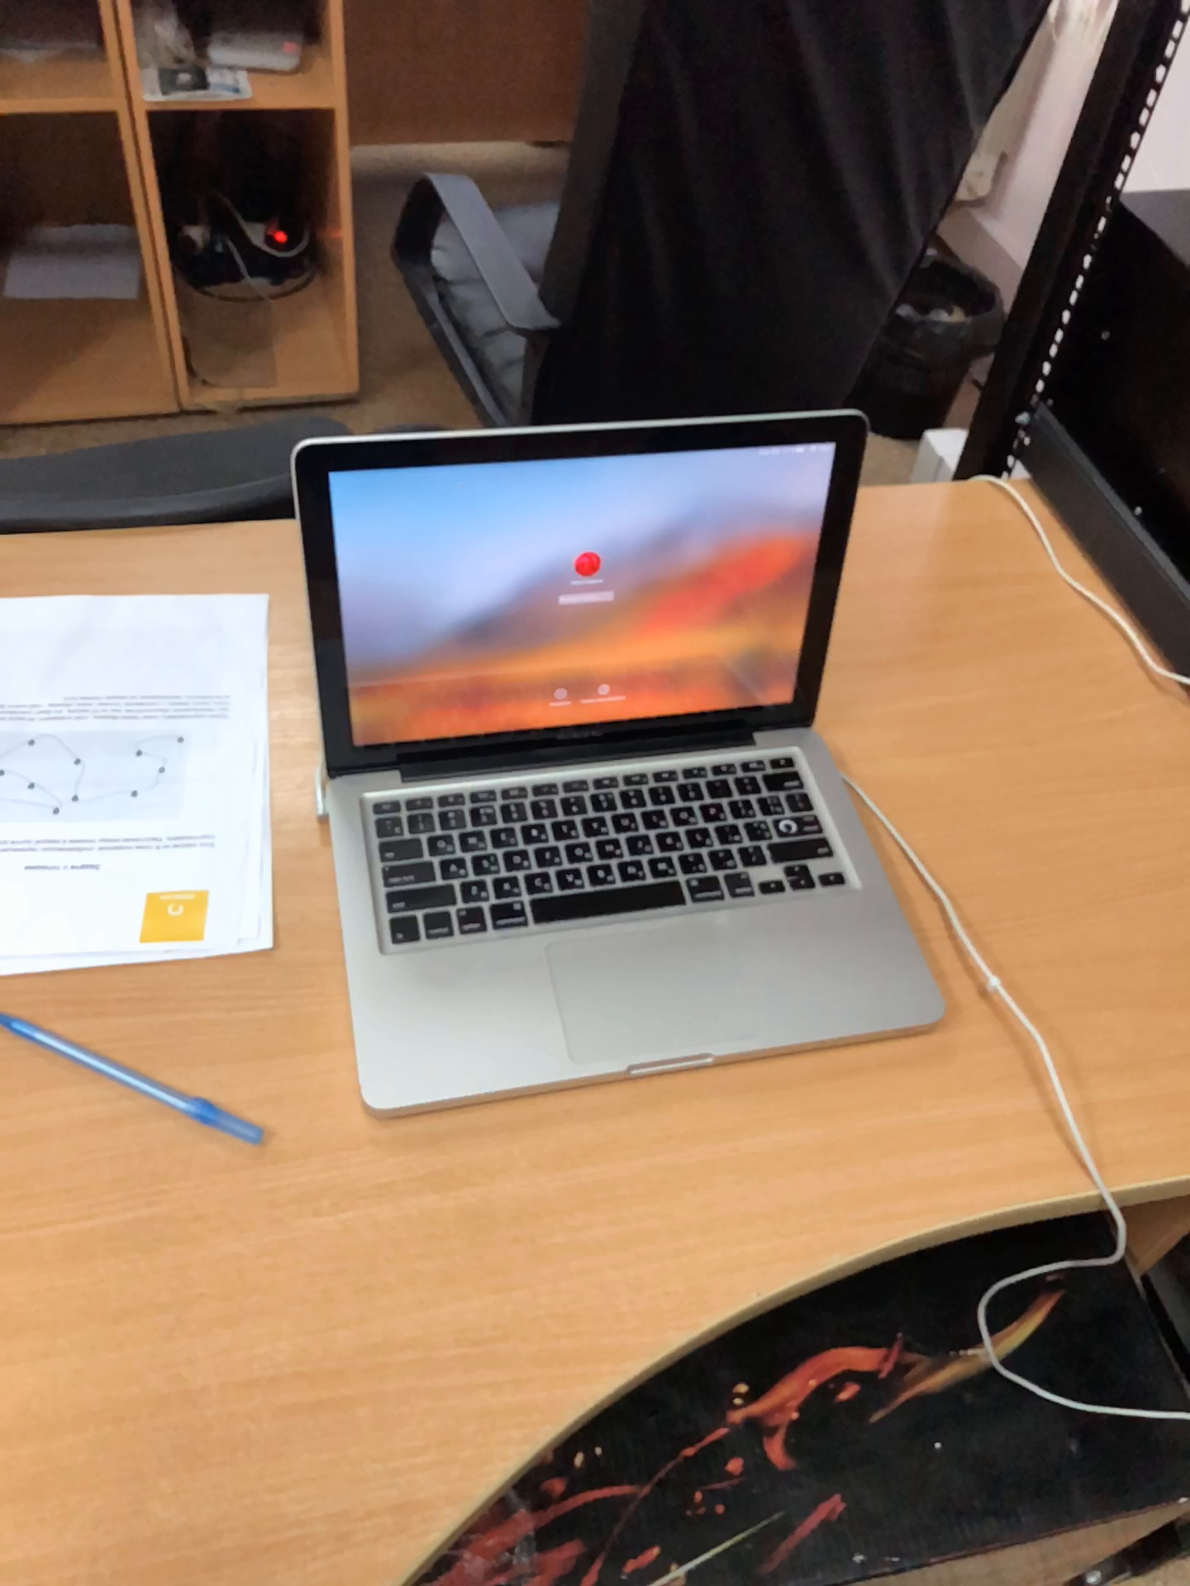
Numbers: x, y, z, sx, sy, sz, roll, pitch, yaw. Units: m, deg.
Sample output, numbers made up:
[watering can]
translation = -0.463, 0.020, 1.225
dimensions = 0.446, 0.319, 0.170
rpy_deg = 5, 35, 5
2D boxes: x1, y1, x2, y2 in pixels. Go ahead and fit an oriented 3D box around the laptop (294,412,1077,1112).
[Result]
[laptop]
translation = 0.019, -0.029, 0.698
dimensions = 0.316, 0.207, 0.266
rpy_deg = -7, 50, -13
